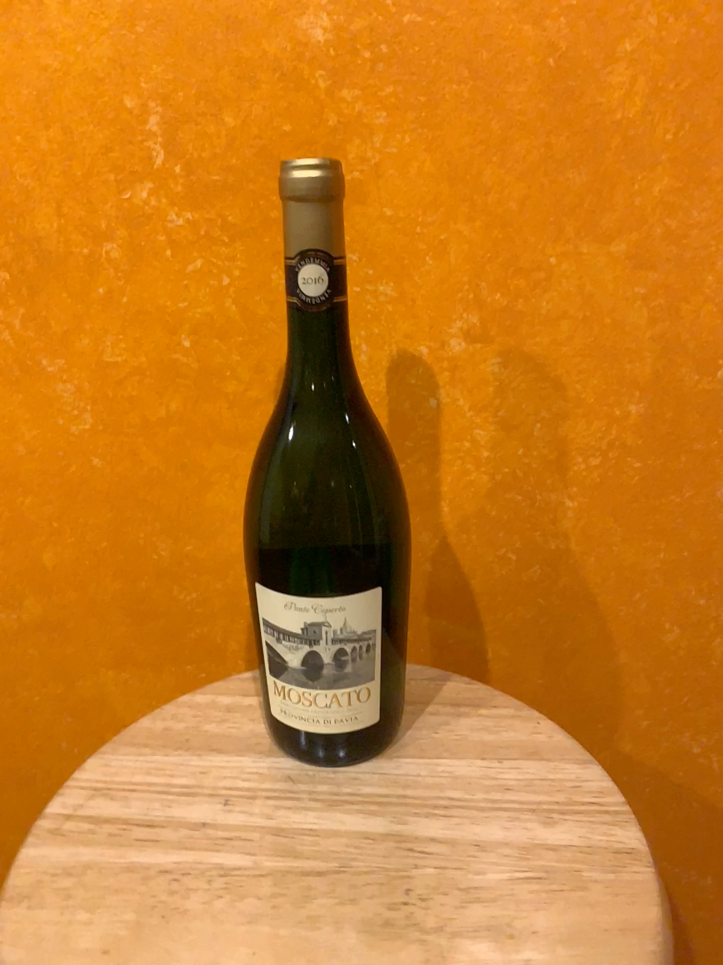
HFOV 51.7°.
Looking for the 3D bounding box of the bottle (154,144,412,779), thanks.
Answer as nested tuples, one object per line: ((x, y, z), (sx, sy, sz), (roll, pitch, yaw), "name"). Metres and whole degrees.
((-0.024, -0.001, 0.358), (0.090, 0.289, 0.070), (2, 22, 9), "bottle")
